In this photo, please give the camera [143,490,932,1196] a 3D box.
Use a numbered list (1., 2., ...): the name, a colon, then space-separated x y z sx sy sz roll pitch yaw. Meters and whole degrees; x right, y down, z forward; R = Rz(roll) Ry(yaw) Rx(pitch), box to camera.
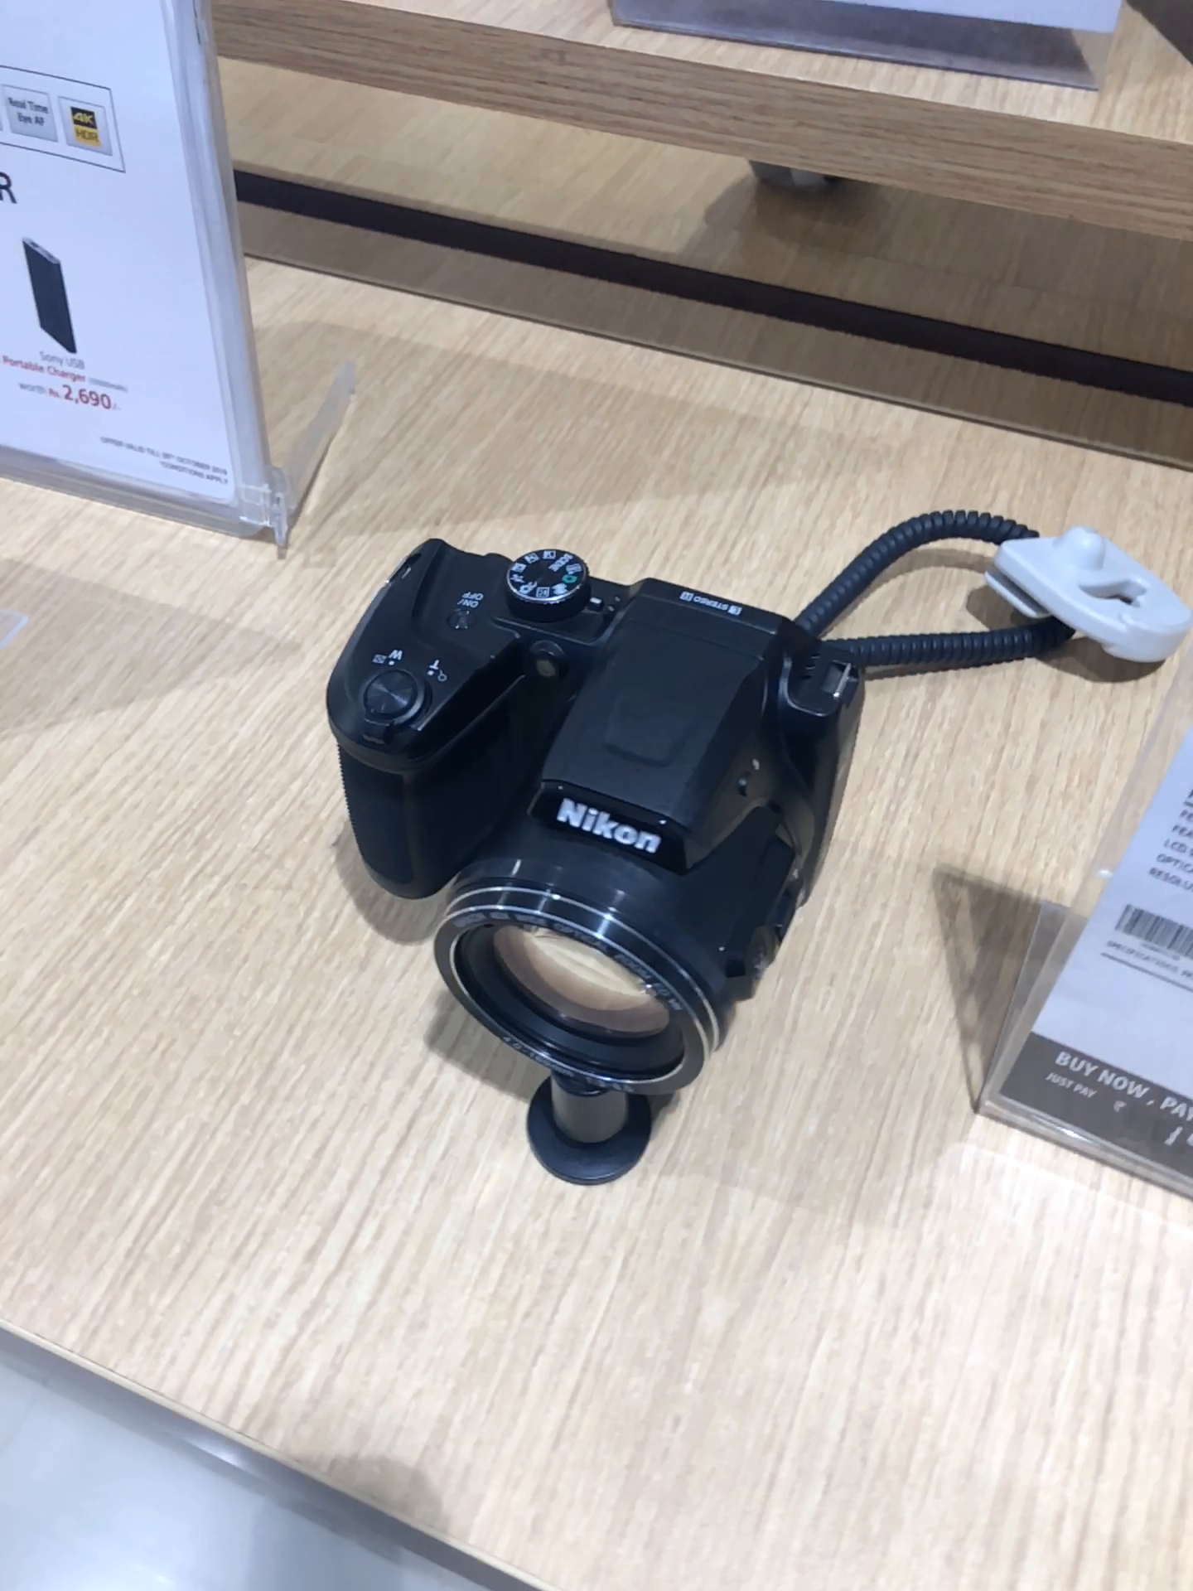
1. camera: -0.007 0.006 0.273 0.120 0.070 0.091 18 53 15
